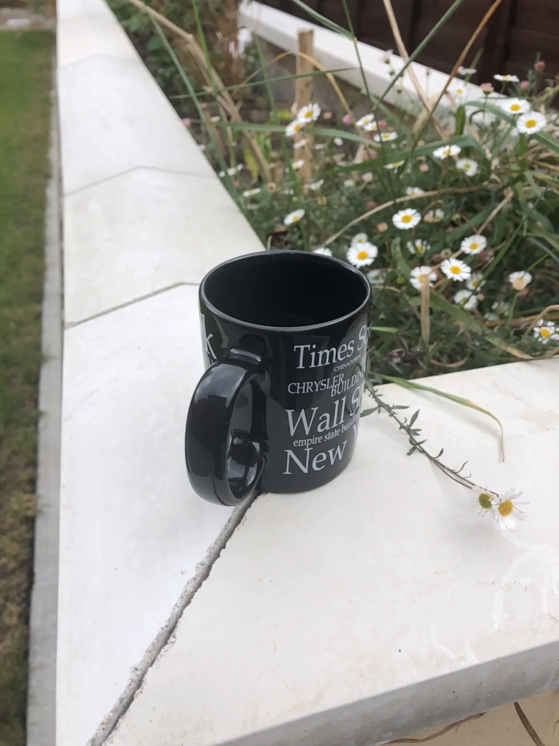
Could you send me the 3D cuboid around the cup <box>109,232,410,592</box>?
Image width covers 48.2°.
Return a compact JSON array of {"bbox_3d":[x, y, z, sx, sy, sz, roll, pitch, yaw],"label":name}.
[{"bbox_3d":[-0.001,0.006,0.211,0.060,0.069,0.091,14,36,19],"label":"cup"}]
